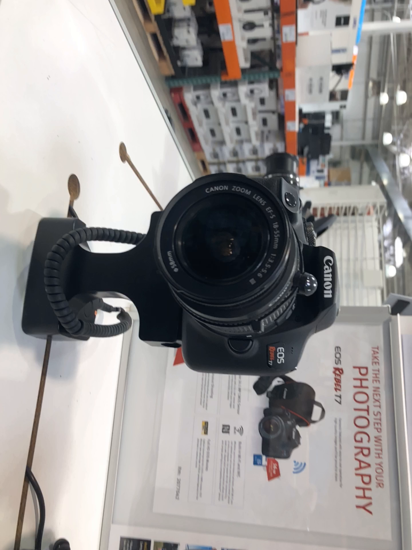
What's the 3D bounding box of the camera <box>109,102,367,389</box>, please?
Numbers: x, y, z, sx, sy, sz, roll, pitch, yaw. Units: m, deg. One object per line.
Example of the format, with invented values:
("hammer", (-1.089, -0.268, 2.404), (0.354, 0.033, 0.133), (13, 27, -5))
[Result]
("camera", (0.029, -0.001, 0.280), (0.150, 0.110, 0.130), (52, 41, -73))
